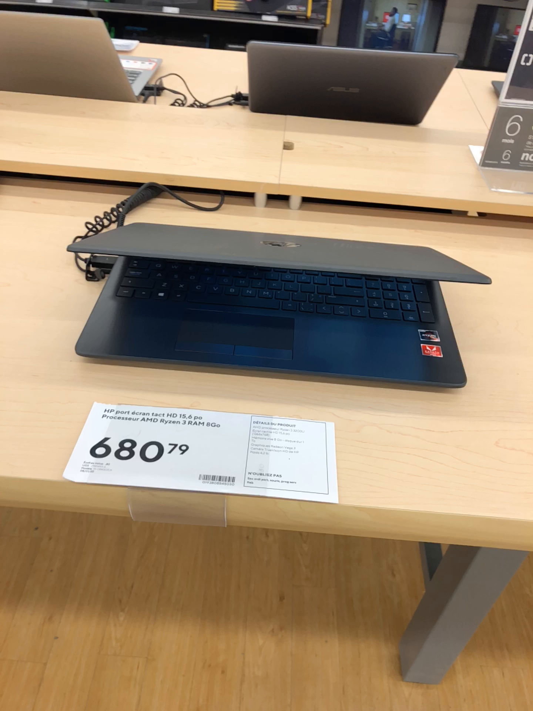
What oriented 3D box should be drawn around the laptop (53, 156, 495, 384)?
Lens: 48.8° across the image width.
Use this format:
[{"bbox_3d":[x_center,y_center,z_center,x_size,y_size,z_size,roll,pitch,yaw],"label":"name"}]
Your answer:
[{"bbox_3d":[0.014,-0.099,0.606,0.366,0.090,0.244,5,41,-1],"label":"laptop"}]
